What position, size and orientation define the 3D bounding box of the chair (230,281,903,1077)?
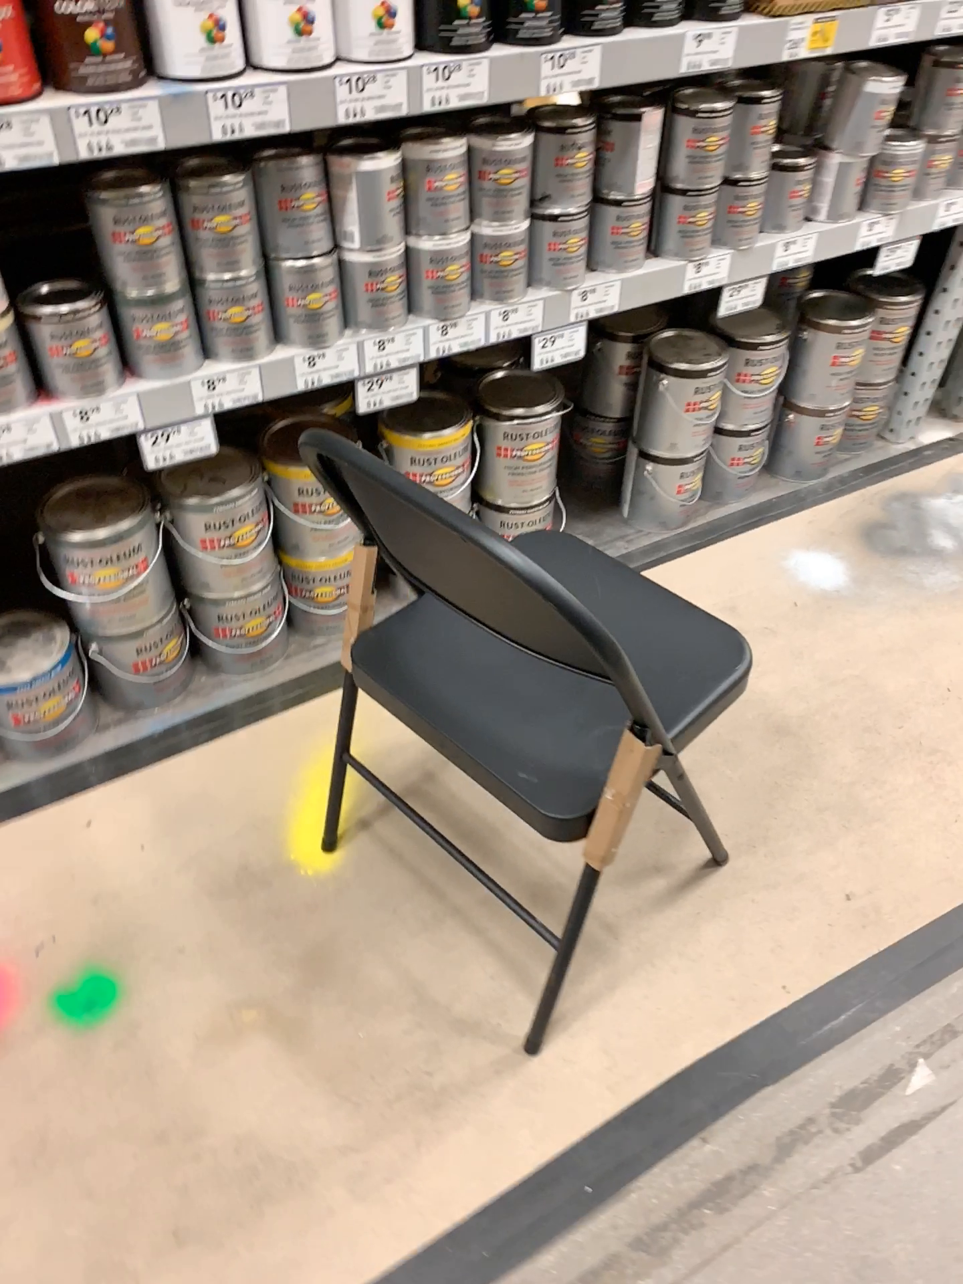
[{"bbox_3d":[0.078,0.046,1.195,0.475,0.713,0.452,-32,52,-31],"label":"chair"}]
